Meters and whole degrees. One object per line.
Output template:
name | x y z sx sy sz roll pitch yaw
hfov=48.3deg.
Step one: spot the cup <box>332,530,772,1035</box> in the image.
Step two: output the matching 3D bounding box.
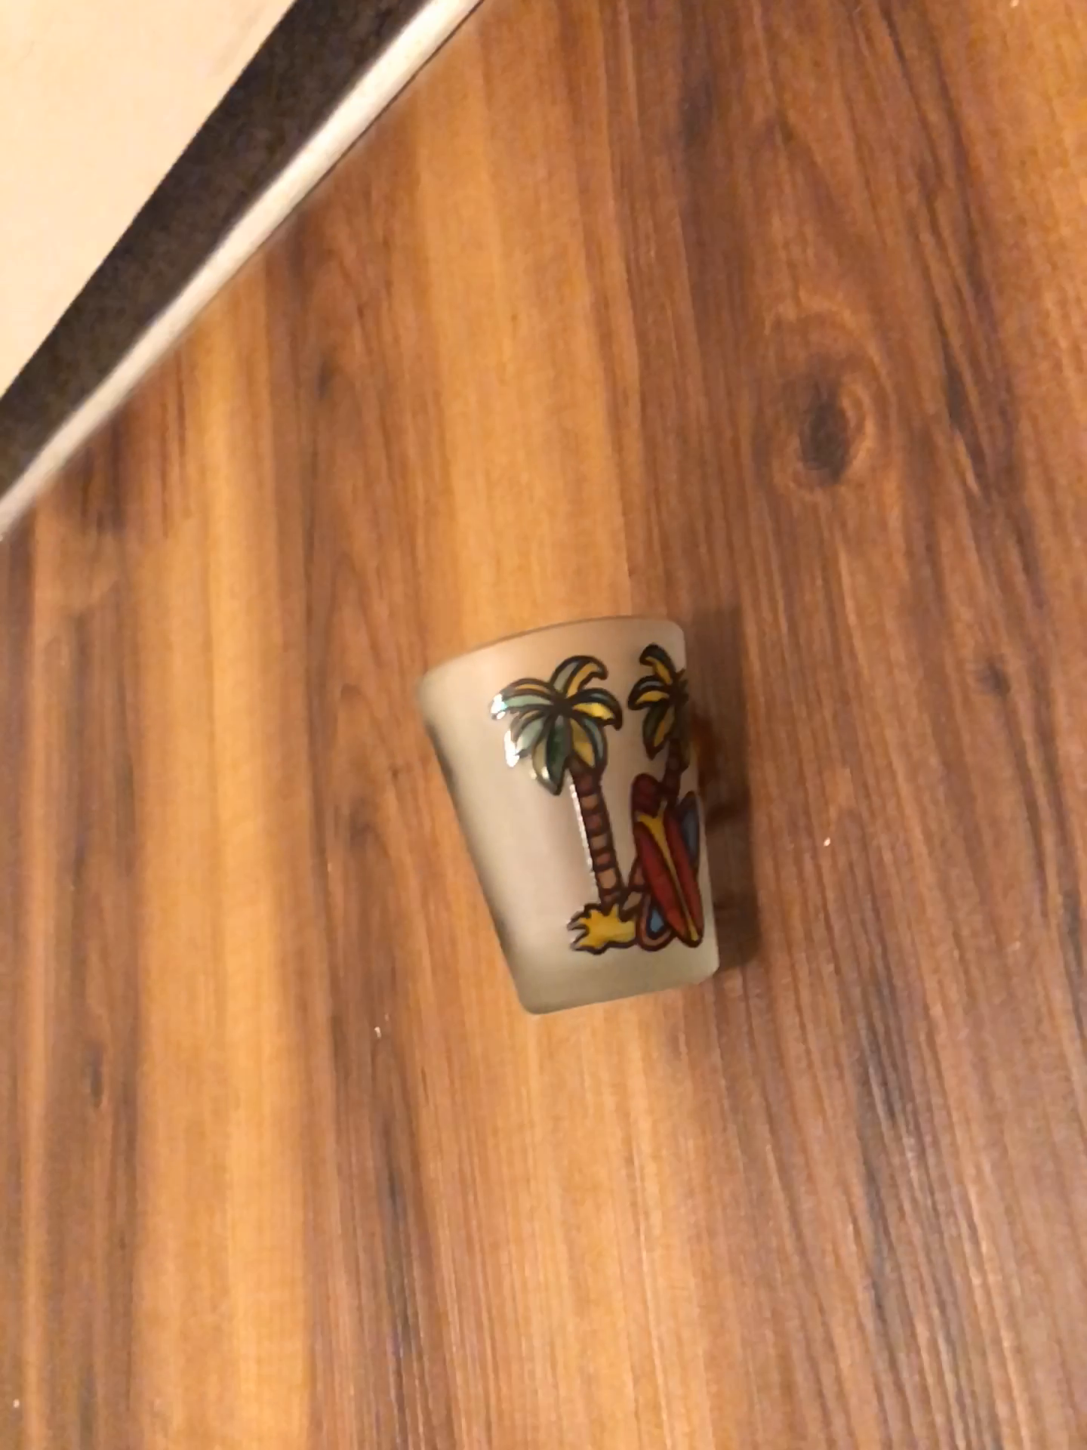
cup | -0.001 0.013 0.206 0.050 0.045 0.070 -23 68 46
